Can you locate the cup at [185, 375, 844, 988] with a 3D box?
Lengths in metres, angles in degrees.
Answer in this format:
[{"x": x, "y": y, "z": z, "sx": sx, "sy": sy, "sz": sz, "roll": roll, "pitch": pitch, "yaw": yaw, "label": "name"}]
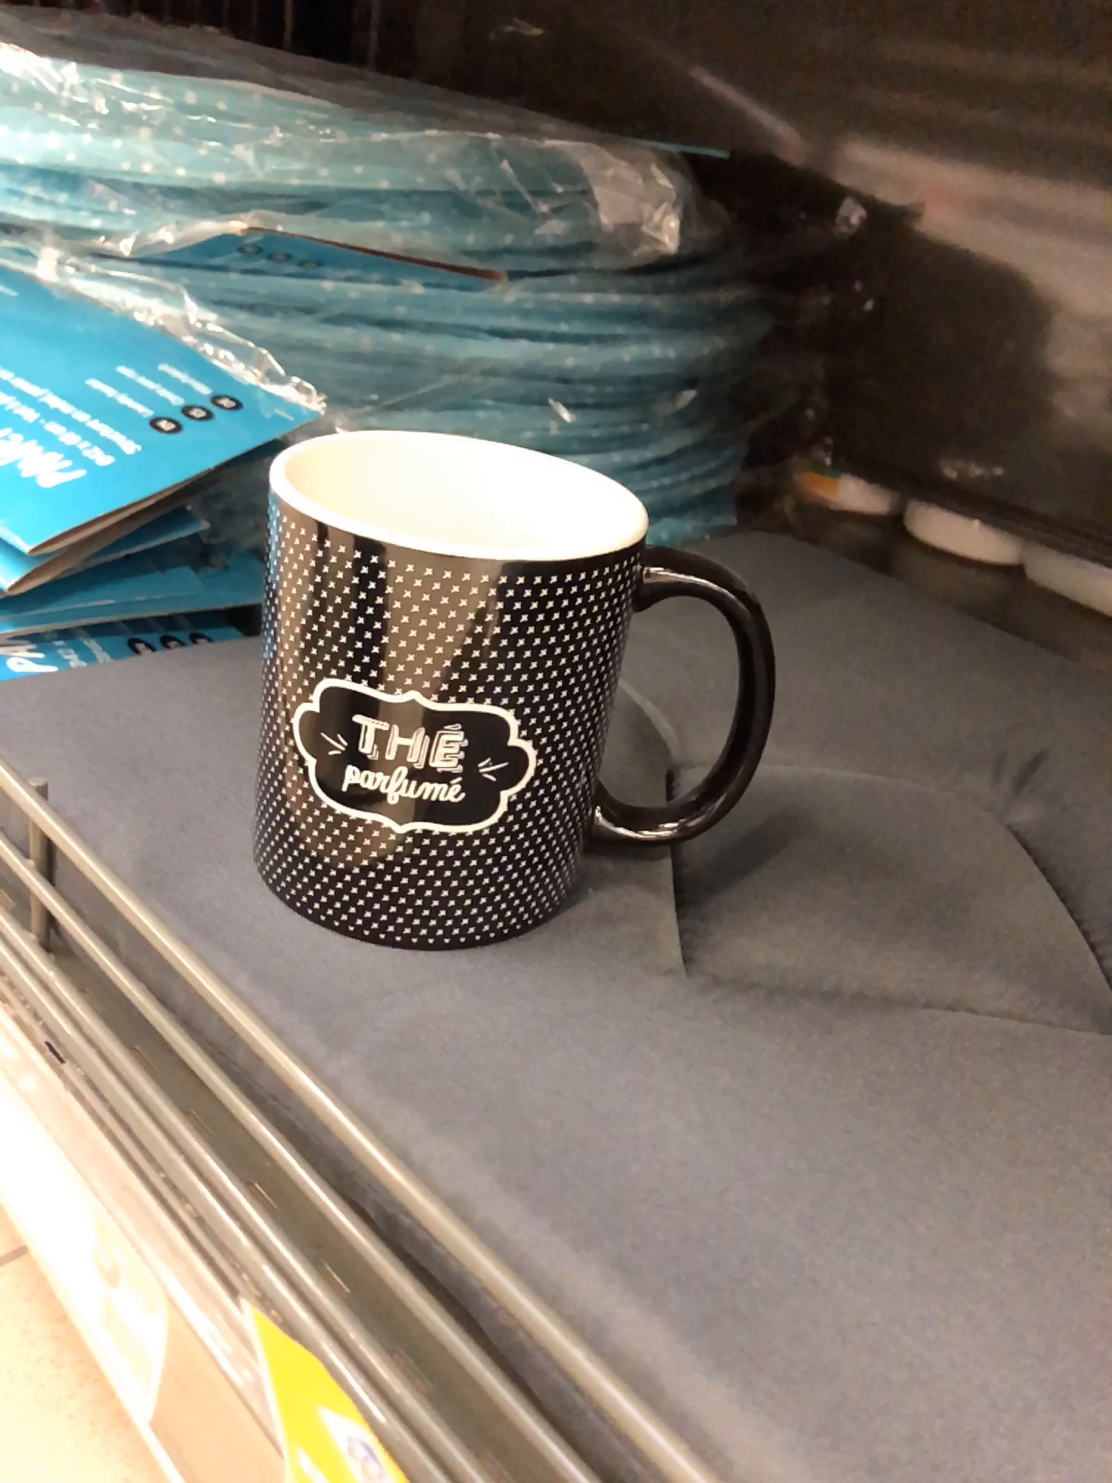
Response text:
[{"x": -0.013, "y": -0.017, "z": 0.289, "sx": 0.120, "sy": 0.099, "sz": 0.090, "roll": 7, "pitch": 27, "yaw": -5, "label": "cup"}]
